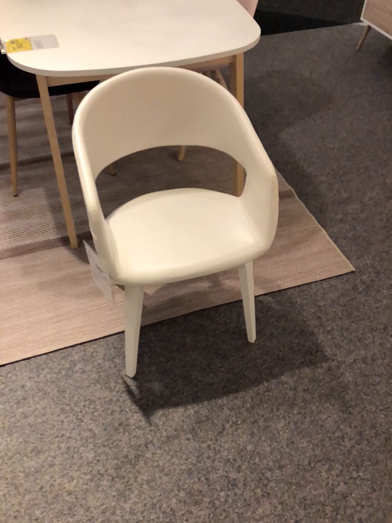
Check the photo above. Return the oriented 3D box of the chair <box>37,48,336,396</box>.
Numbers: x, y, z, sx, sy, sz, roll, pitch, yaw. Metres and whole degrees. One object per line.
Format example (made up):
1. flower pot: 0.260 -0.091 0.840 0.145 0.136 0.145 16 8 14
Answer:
1. chair: -0.068 -0.102 1.283 0.551 0.756 0.562 -14 50 -14
